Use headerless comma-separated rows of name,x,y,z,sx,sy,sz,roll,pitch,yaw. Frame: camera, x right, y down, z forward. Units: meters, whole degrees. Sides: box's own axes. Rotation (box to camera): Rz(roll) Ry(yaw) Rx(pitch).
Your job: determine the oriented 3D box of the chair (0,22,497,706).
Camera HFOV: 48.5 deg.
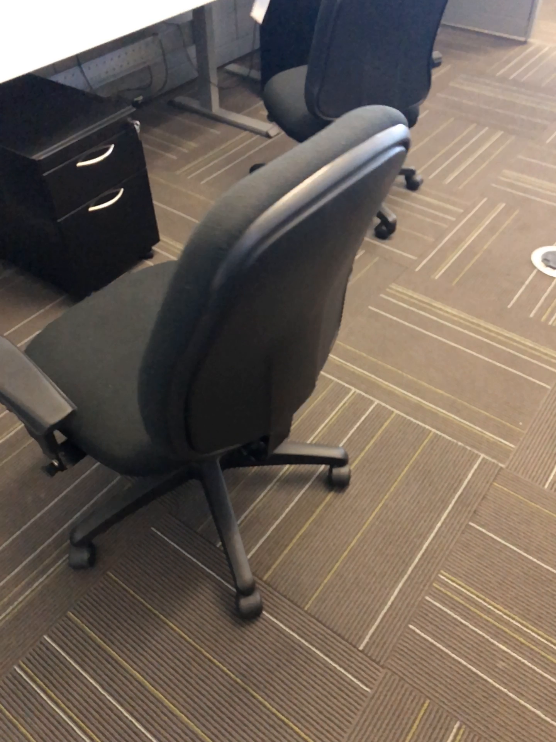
chair,-0.143,-0.021,1.250,0.682,0.956,0.742,27,52,25
